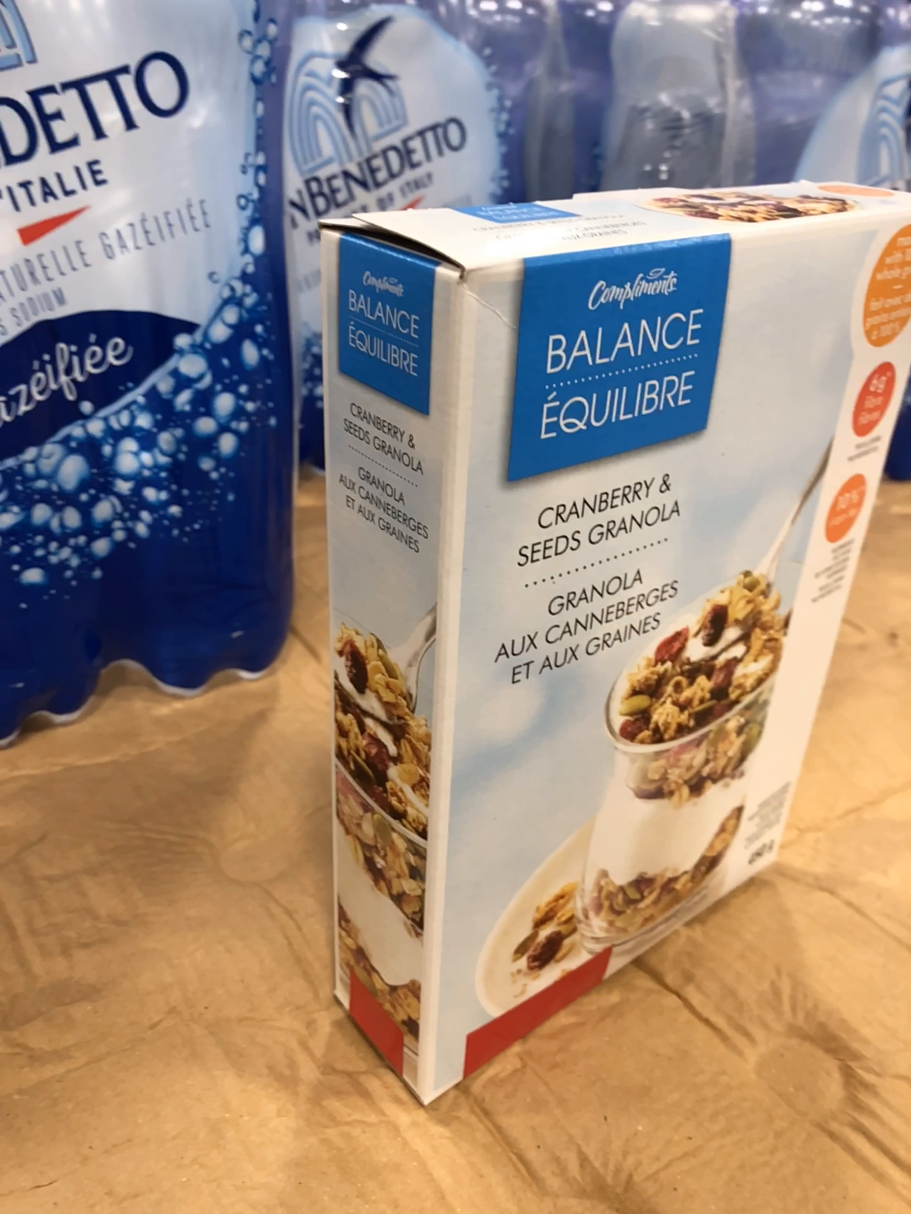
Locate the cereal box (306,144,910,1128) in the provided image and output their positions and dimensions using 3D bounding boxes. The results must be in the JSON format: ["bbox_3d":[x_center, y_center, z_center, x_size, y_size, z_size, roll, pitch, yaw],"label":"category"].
[{"bbox_3d":[0.055,0.004,0.281,0.180,0.229,0.050,-20,37,-33],"label":"cereal box"}]
